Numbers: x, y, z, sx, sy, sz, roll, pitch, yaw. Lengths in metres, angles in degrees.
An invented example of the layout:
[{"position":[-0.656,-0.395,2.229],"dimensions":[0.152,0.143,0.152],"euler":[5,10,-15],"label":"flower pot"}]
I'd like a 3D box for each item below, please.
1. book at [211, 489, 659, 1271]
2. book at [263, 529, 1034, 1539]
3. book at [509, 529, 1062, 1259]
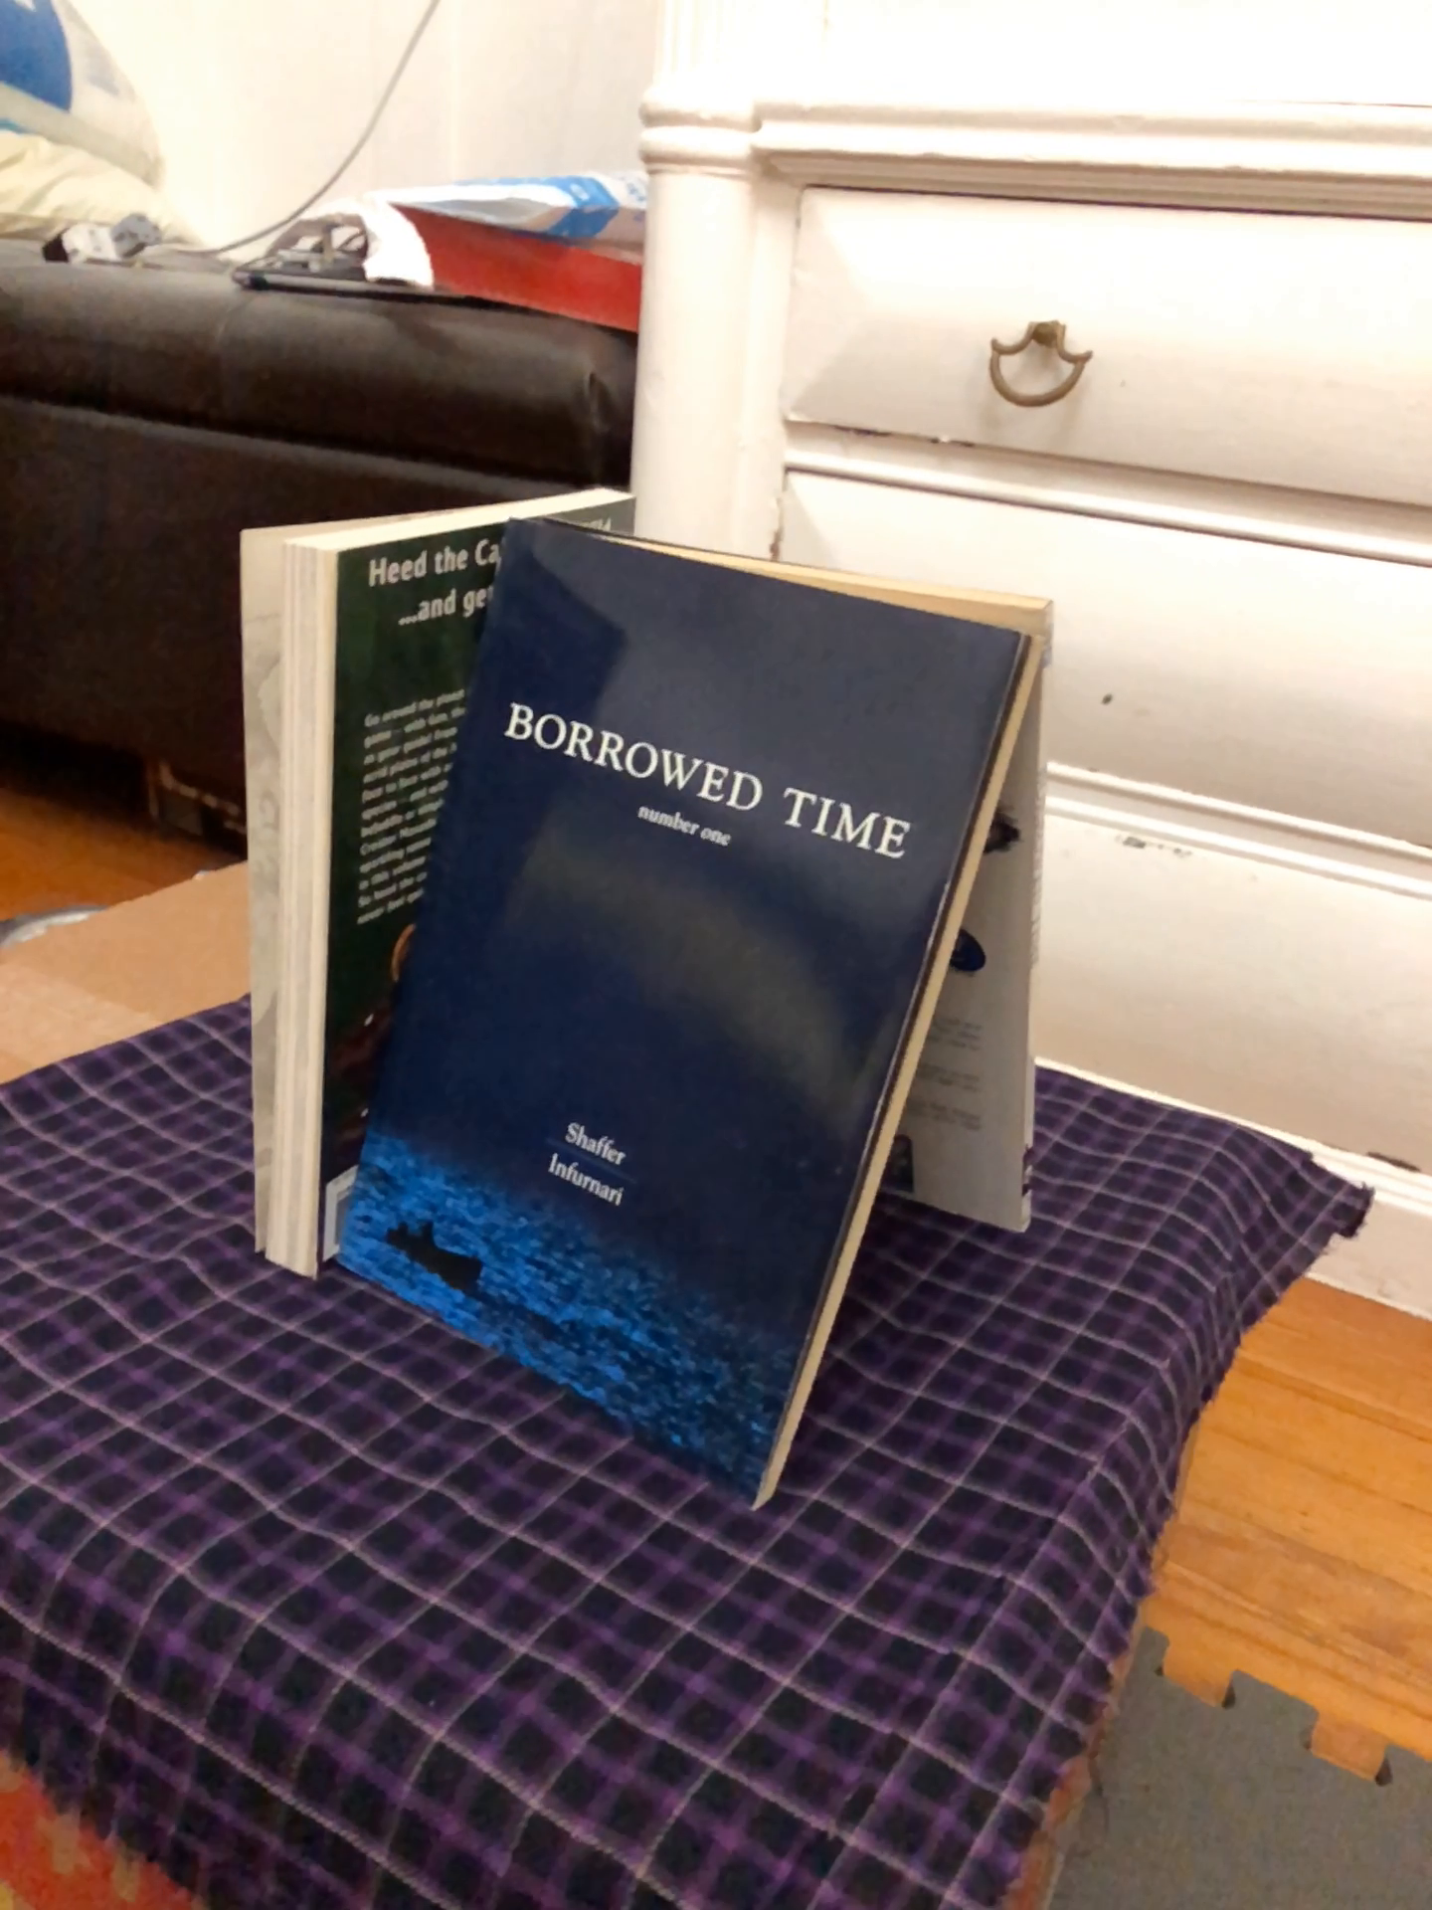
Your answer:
[{"position":[-0.075,-0.026,0.435],"dimensions":[0.020,0.189,0.141],"euler":[22,27,21],"label":"book"},{"position":[-0.025,0.010,0.376],"dimensions":[0.150,0.200,0.010],"euler":[19,5,28],"label":"book"},{"position":[0.020,-0.010,0.429],"dimensions":[0.140,0.199,0.010],"euler":[15,43,26],"label":"book"}]
